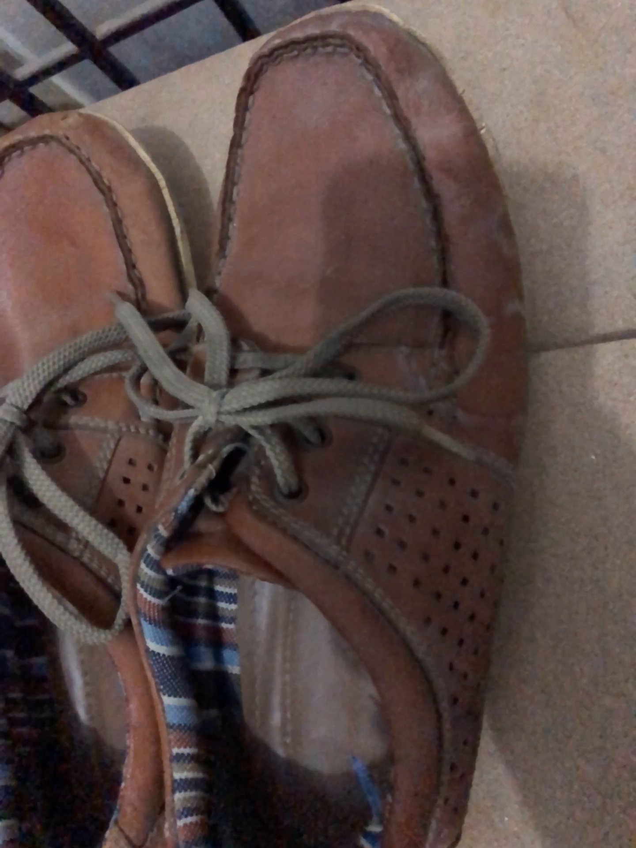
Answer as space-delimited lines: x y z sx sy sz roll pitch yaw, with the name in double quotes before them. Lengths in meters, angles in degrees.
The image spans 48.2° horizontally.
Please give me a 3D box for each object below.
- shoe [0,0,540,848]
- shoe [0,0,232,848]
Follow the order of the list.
"shoe" -0.008 -0.003 0.199 0.100 0.100 0.280 -6 77 33
"shoe" -0.109 0.007 0.259 0.100 0.100 0.287 -12 75 31
